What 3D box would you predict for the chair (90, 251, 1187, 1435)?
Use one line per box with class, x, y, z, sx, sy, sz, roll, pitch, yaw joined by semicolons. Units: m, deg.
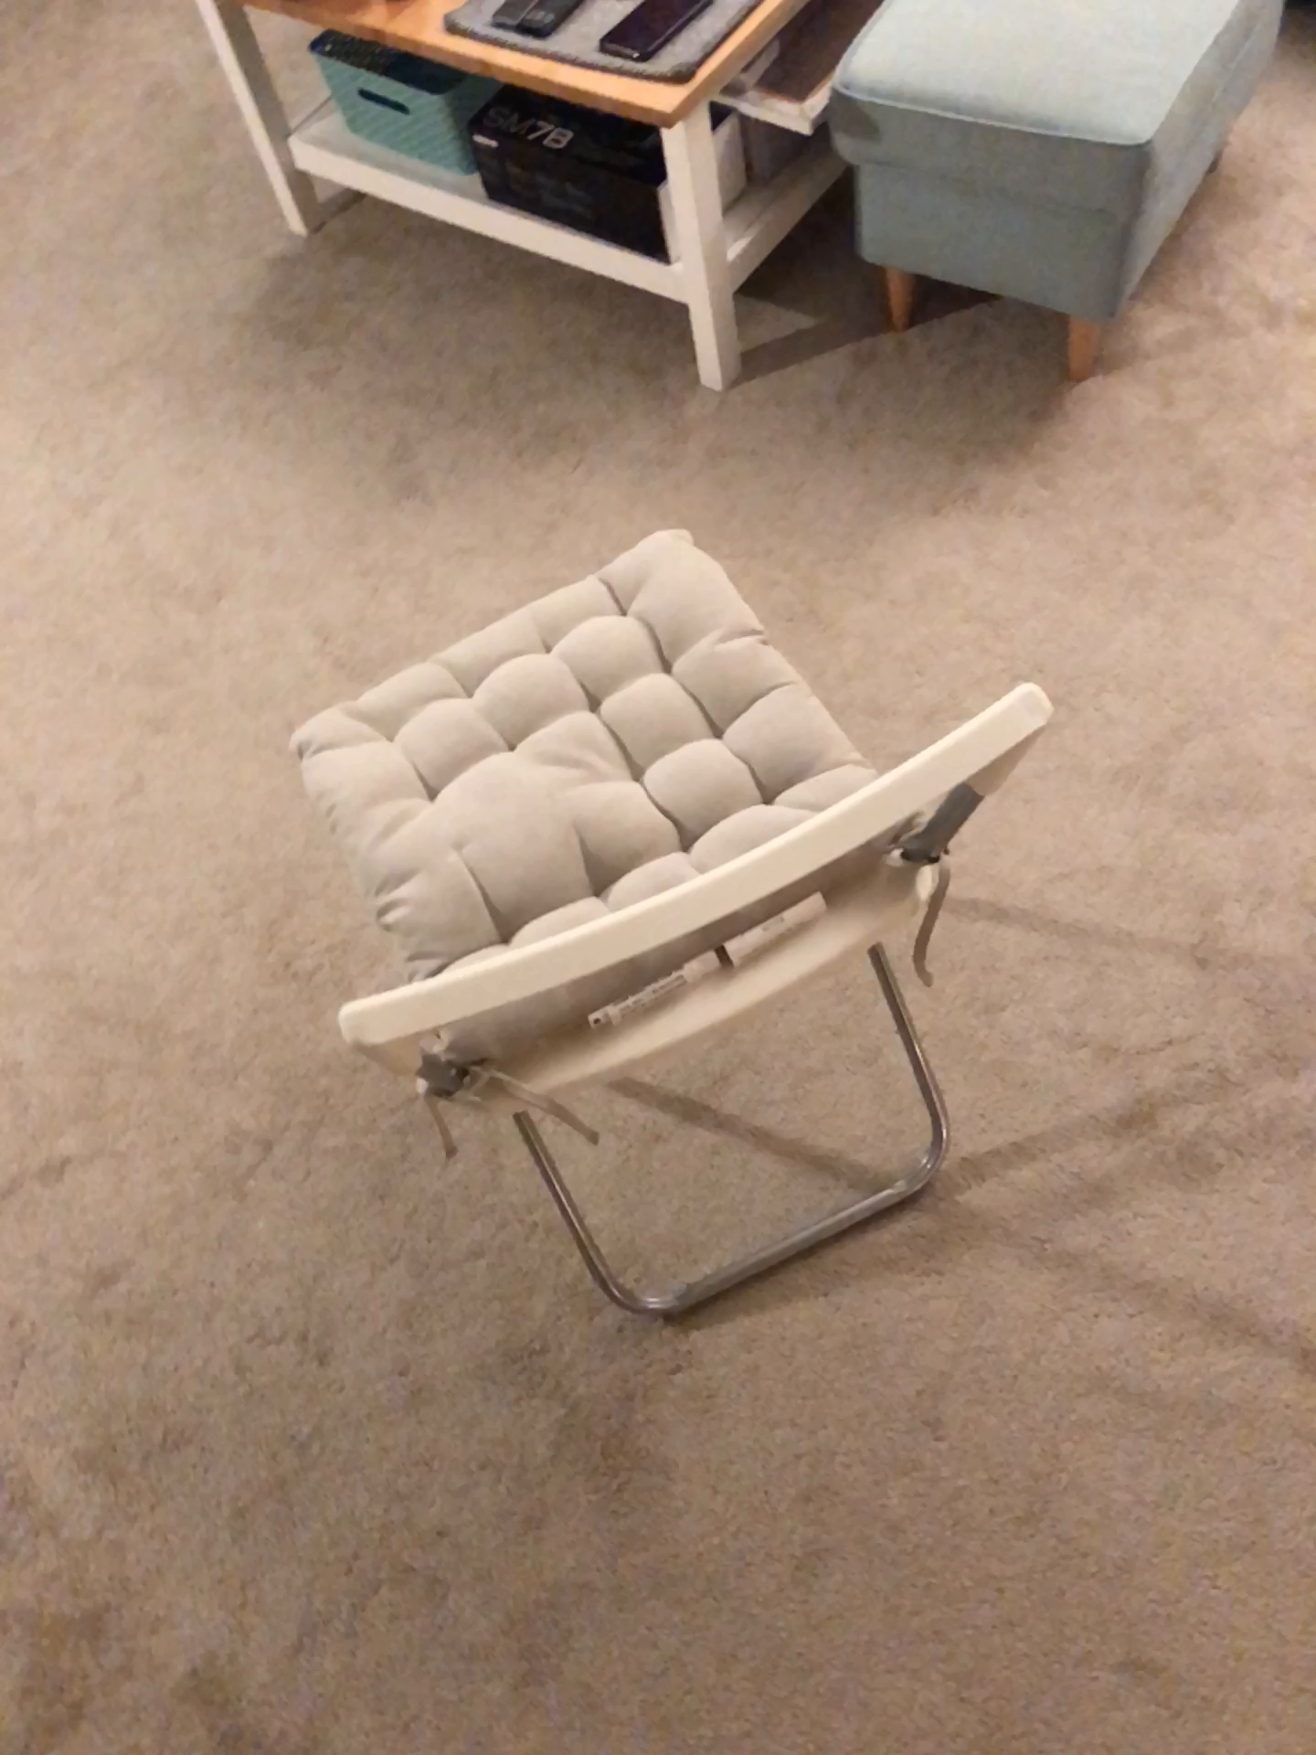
chair;-0.006;0.019;1.177;0.510;0.667;0.542;-26;59;-6
